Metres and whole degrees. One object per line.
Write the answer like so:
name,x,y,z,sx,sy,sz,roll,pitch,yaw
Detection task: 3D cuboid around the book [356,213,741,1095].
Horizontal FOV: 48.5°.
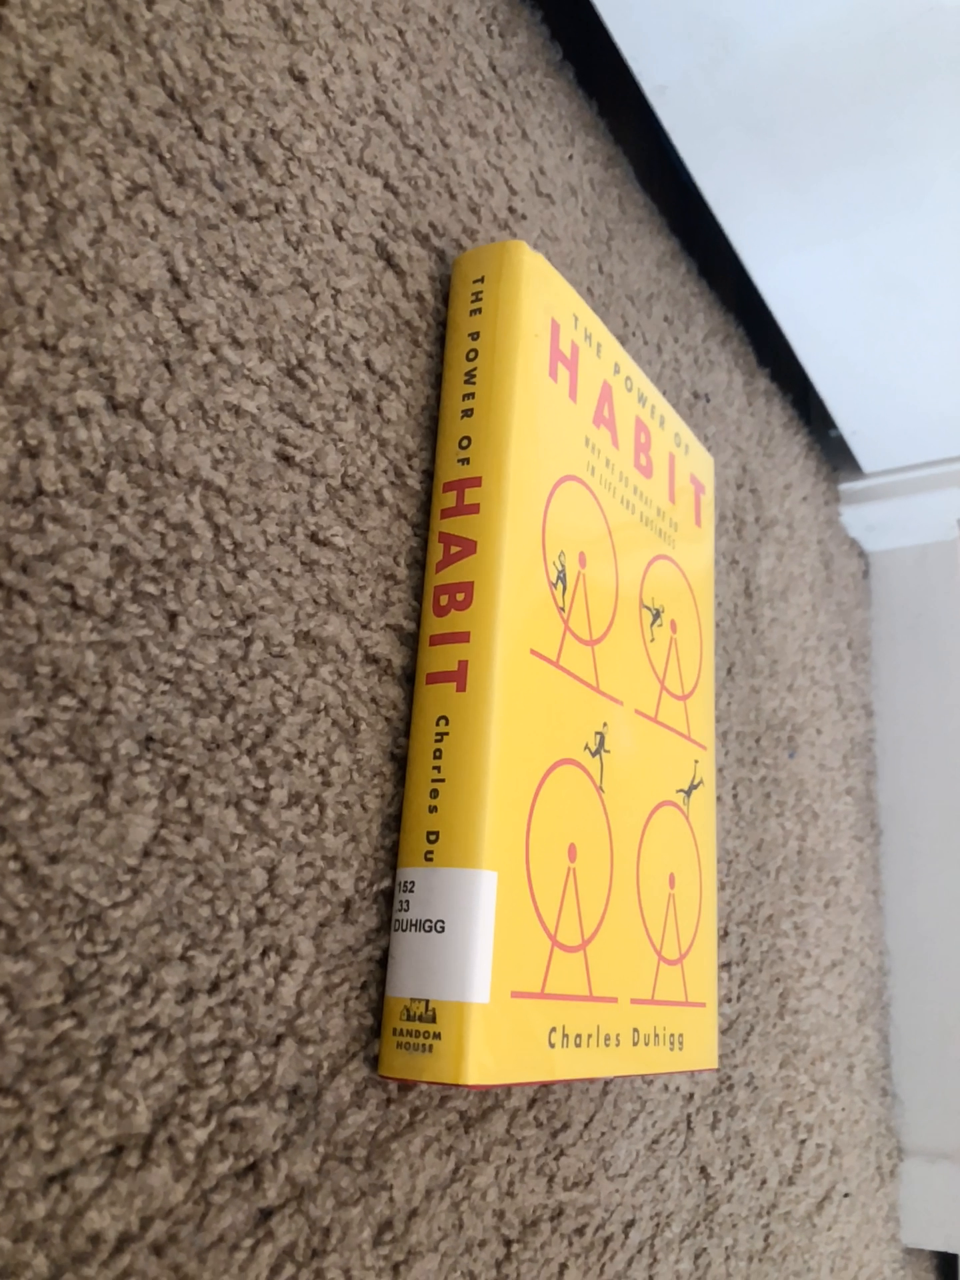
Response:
book,0.039,0.014,0.363,0.166,0.040,0.251,28,60,-51
